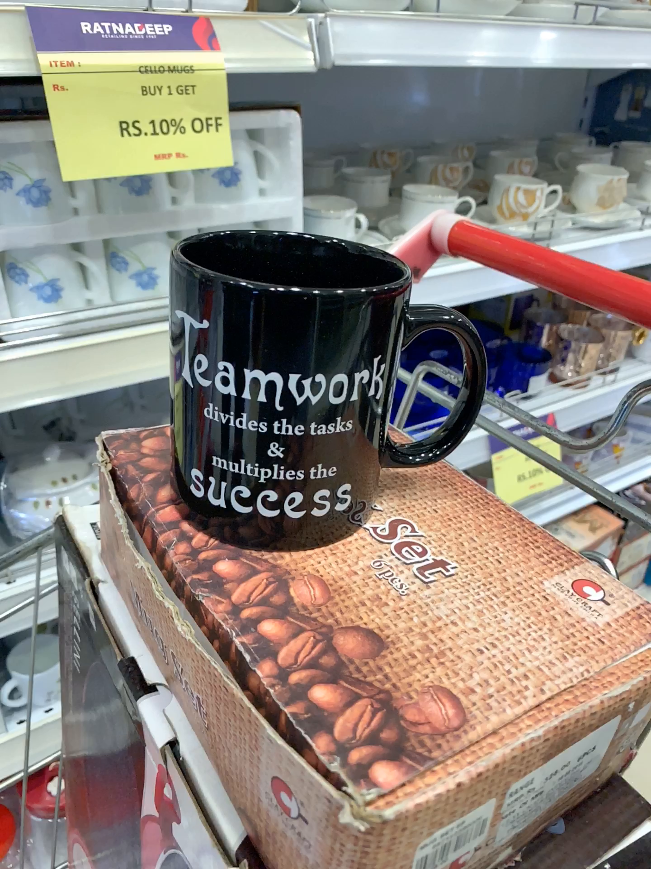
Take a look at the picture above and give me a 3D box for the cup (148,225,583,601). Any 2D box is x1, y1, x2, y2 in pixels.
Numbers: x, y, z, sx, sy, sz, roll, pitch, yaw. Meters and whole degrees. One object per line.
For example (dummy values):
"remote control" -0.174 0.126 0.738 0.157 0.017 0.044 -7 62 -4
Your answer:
"cup" 0.003 -0.007 0.243 0.120 0.100 0.080 4 31 -10
